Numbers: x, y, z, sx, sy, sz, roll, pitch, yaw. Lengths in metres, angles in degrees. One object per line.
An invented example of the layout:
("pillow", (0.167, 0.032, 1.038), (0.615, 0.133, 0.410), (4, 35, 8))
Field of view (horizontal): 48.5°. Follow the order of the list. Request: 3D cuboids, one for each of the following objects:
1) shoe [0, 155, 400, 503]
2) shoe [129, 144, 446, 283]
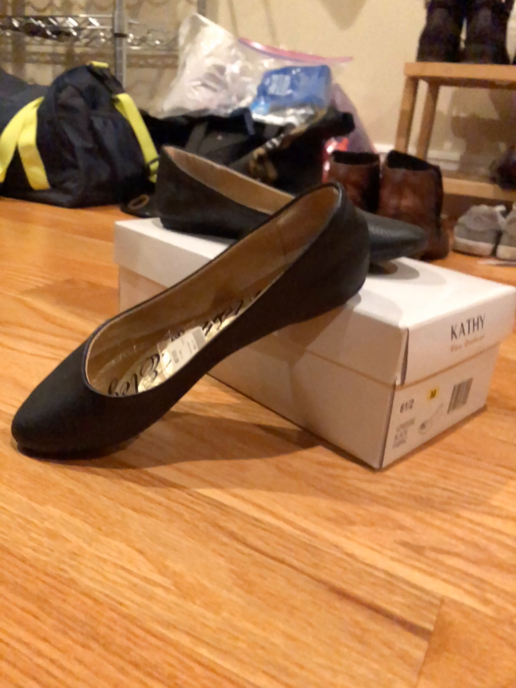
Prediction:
("shoe", (-0.048, -0.008, 0.335), (0.239, 0.060, 0.076), (-30, 40, 6))
("shoe", (0.010, -0.110, 0.443), (0.240, 0.060, 0.076), (20, 26, 33))
